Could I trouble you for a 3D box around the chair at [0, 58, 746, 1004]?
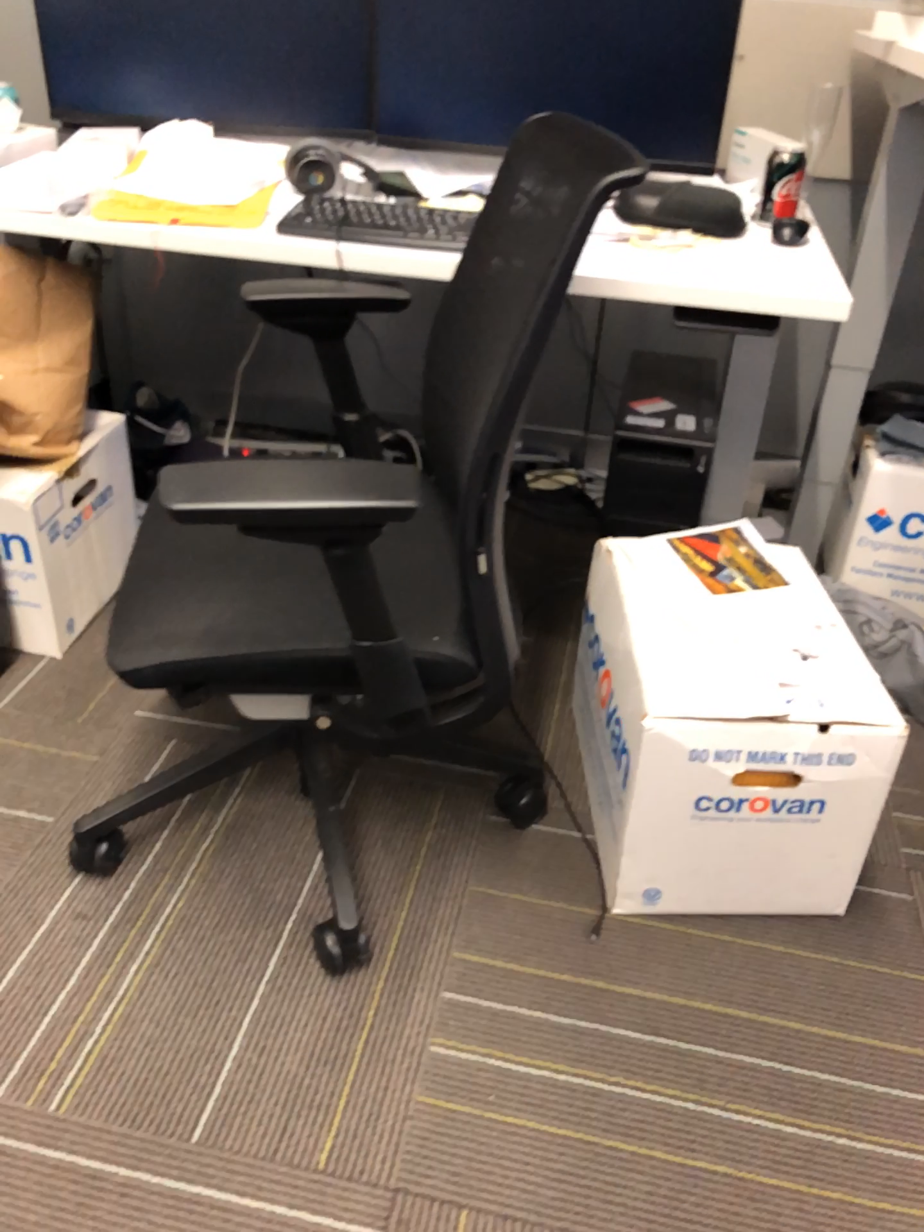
[{"bbox_3d":[-0.183,-0.150,1.392,0.700,0.994,0.784,-1,32,-7],"label":"chair"}]
